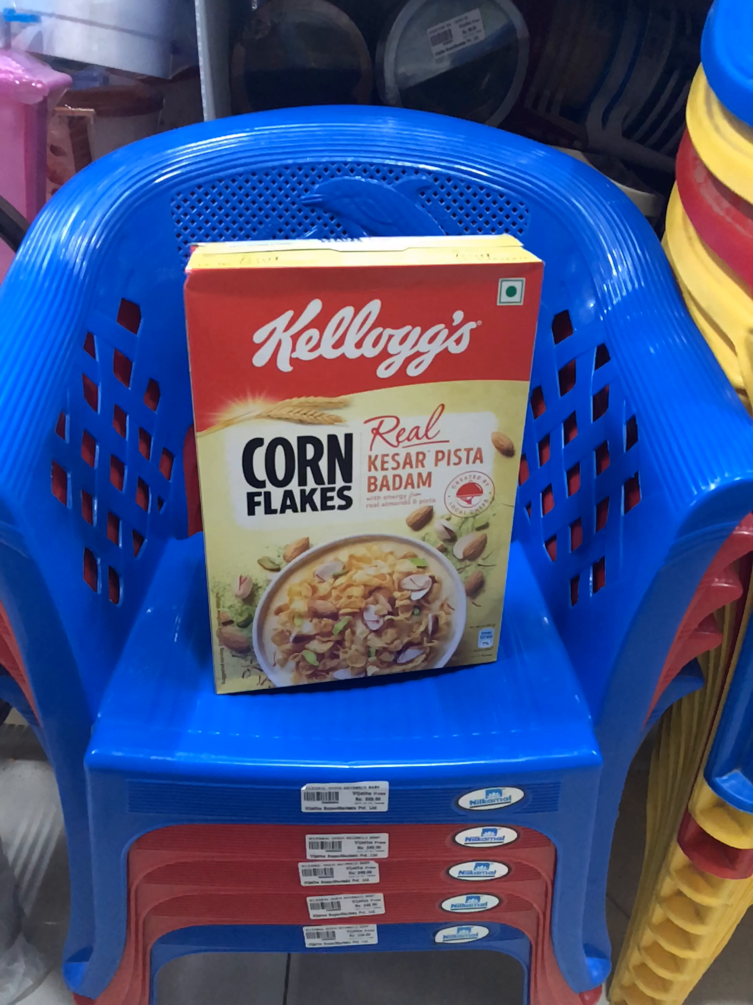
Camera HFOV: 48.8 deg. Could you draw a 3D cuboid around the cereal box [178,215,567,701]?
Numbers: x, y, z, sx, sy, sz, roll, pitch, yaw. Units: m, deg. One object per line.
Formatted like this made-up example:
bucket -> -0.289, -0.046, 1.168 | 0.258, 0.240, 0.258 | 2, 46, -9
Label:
cereal box -> -0.006, -0.022, 0.491 | 0.190, 0.269, 0.070 | -5, 28, -10
